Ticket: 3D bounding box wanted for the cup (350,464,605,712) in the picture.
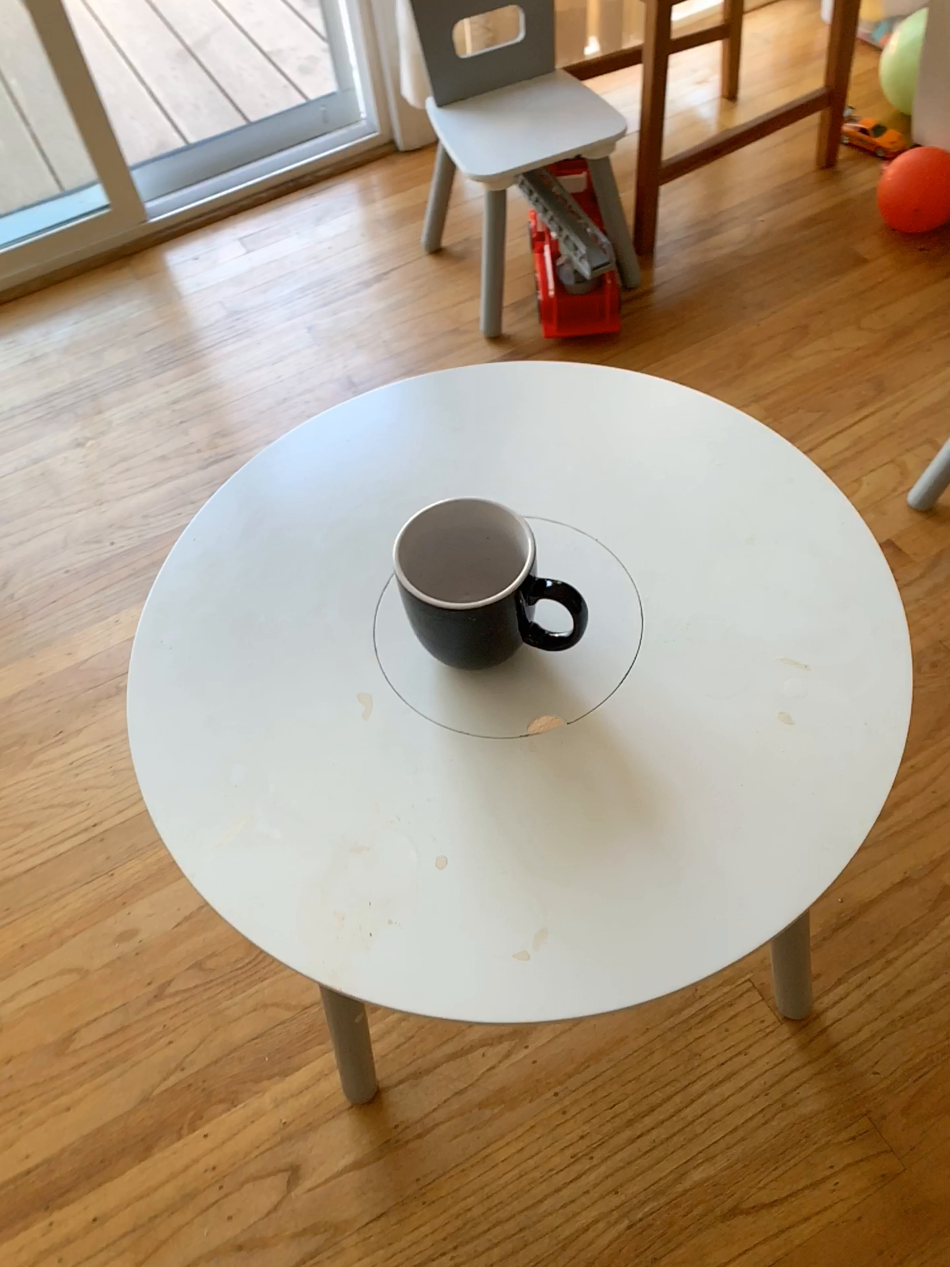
[{"bbox_3d":[0.006,-0.033,0.687,0.140,0.090,0.100,23,61,20],"label":"cup"}]
